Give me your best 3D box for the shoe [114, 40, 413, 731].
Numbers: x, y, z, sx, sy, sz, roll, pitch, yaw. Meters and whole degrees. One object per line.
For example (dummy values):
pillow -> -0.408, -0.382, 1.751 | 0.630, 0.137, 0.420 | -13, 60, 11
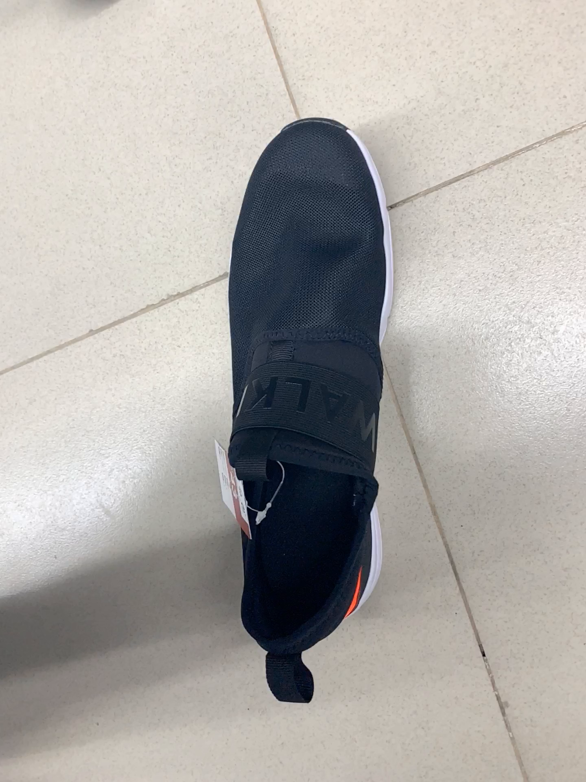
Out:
shoe -> -0.005, 0.000, 0.318 | 0.110, 0.120, 0.280 | -2, 92, 18
